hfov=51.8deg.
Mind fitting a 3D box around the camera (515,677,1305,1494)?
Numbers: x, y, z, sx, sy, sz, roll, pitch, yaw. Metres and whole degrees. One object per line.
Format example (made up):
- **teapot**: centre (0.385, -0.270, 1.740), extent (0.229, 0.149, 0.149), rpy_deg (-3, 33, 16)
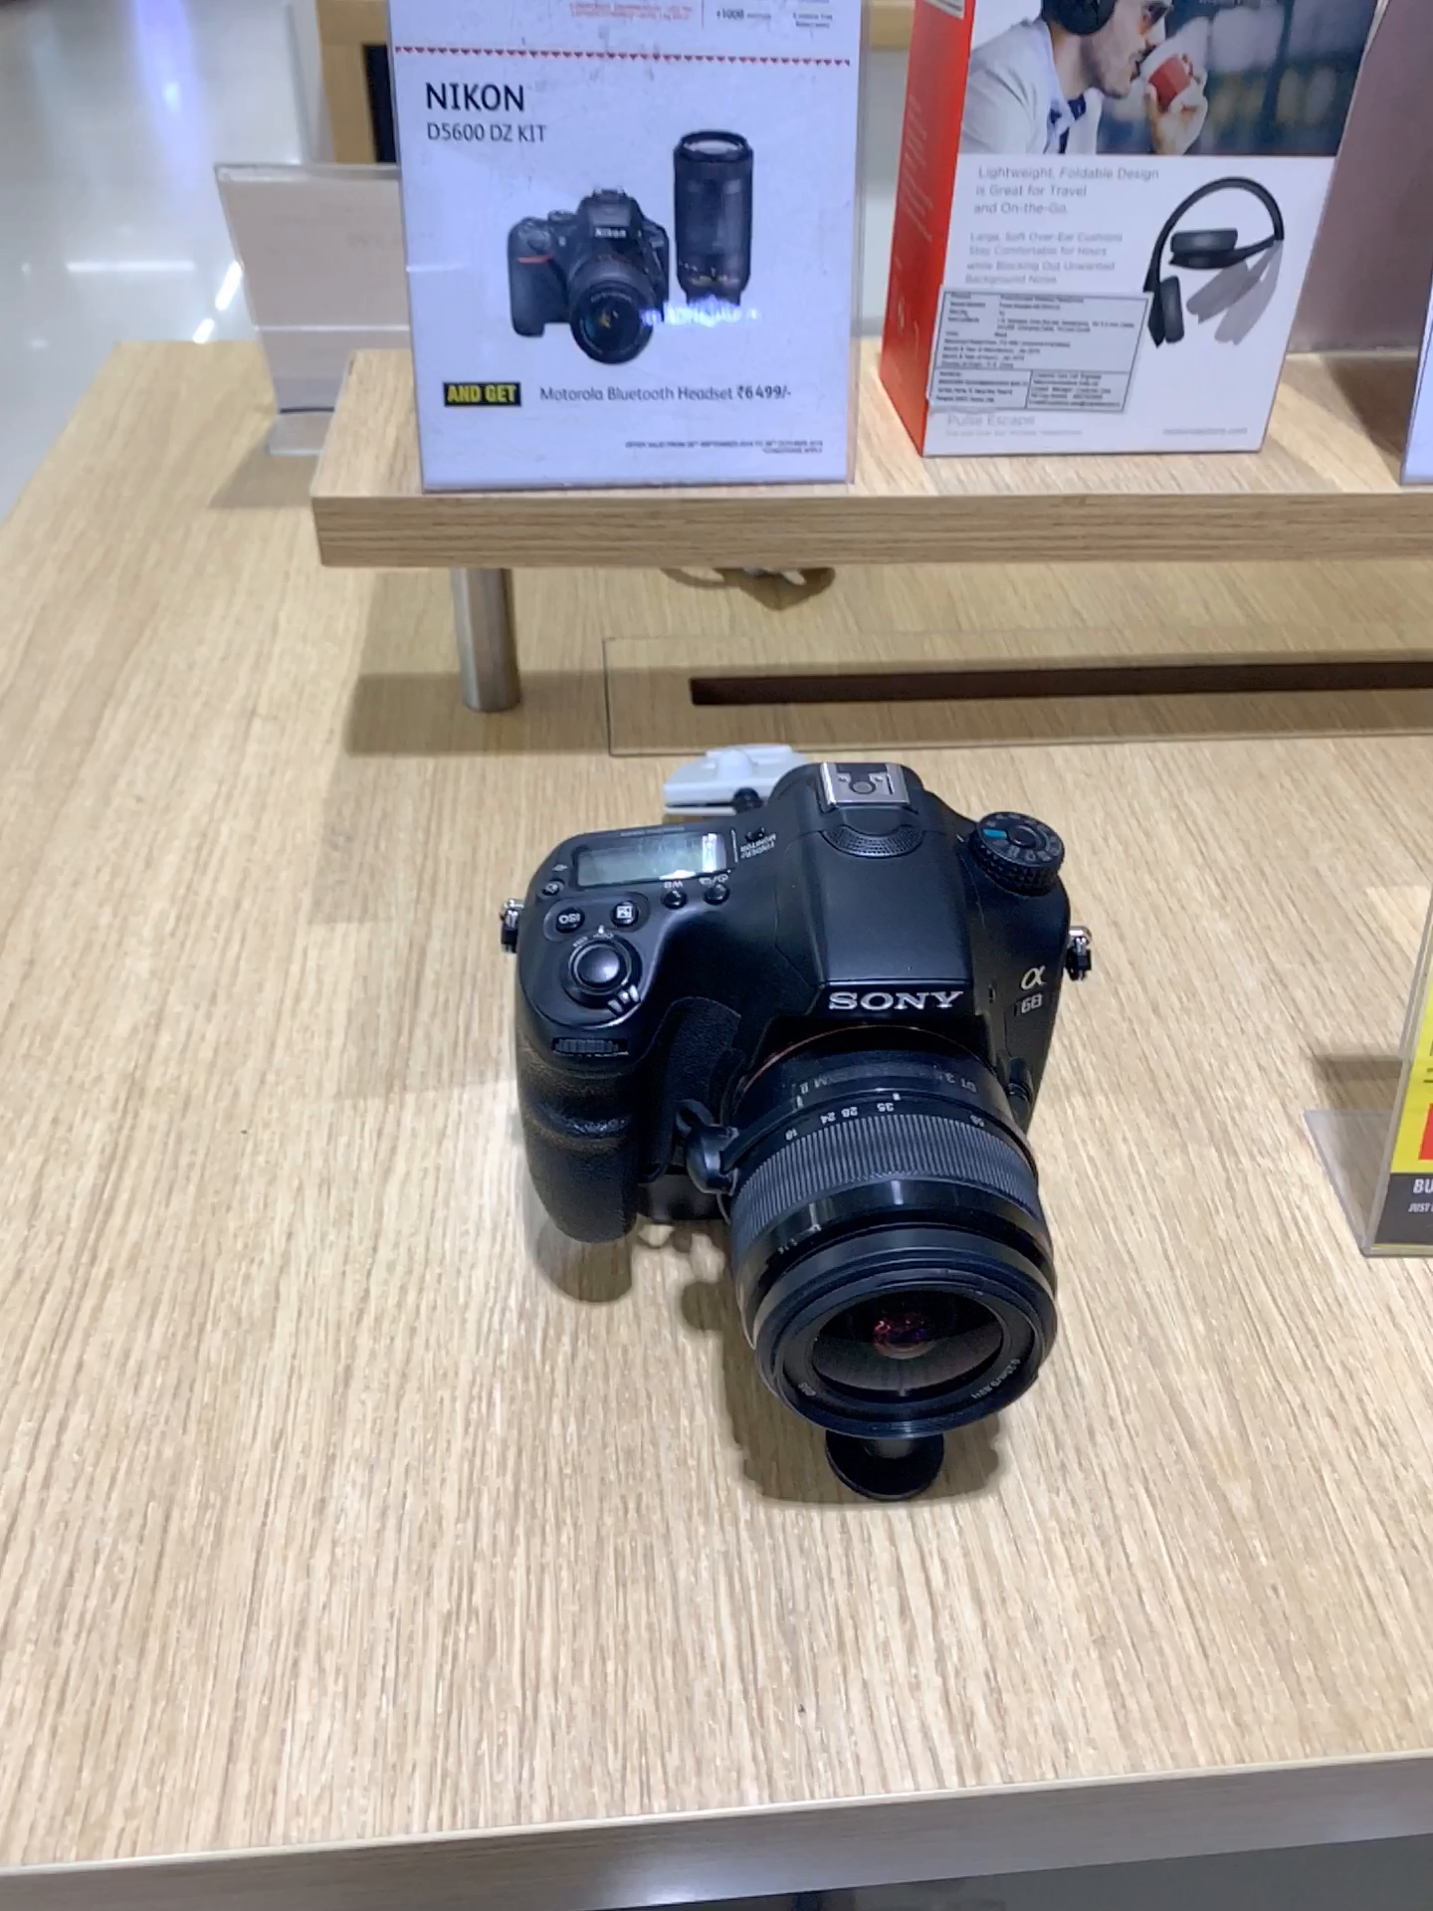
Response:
- **camera**: centre (0.025, 0.015, 0.331), extent (0.130, 0.070, 0.181), rpy_deg (-2, 40, -4)
